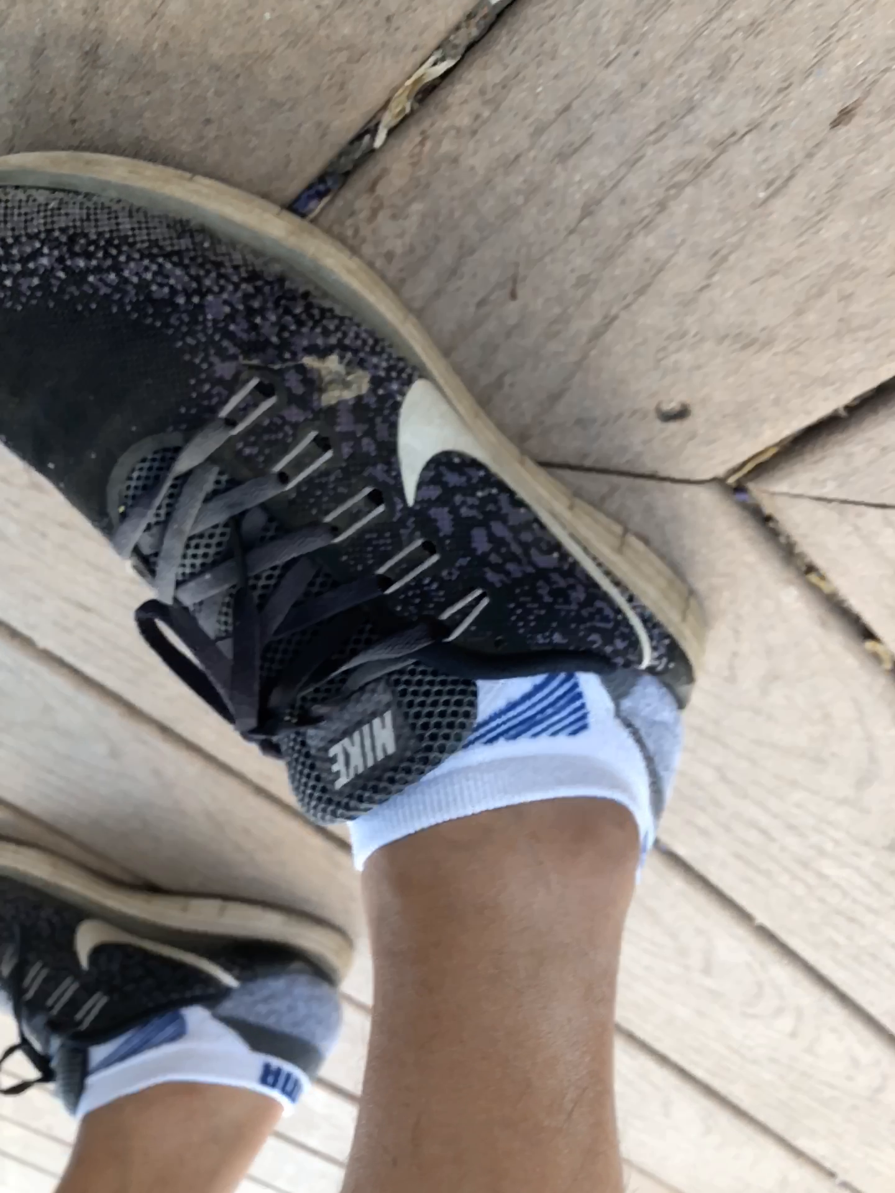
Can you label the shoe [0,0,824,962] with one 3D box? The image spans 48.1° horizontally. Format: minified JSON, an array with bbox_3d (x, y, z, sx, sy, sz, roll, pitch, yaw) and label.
[{"bbox_3d":[-0.039,-0.018,0.316,0.300,0.099,0.131,36,132,-15],"label":"shoe"}]
